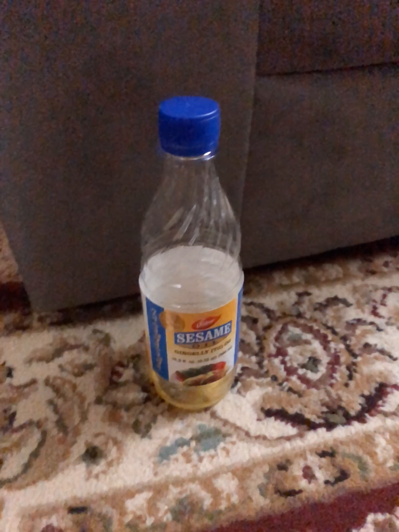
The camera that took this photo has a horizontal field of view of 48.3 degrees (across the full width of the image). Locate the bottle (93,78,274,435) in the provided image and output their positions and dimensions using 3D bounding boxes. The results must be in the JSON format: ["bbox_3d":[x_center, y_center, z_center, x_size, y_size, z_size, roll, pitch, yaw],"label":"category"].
[{"bbox_3d":[-0.008,0.005,0.266,0.070,0.199,0.070,-2,37,1],"label":"bottle"}]
